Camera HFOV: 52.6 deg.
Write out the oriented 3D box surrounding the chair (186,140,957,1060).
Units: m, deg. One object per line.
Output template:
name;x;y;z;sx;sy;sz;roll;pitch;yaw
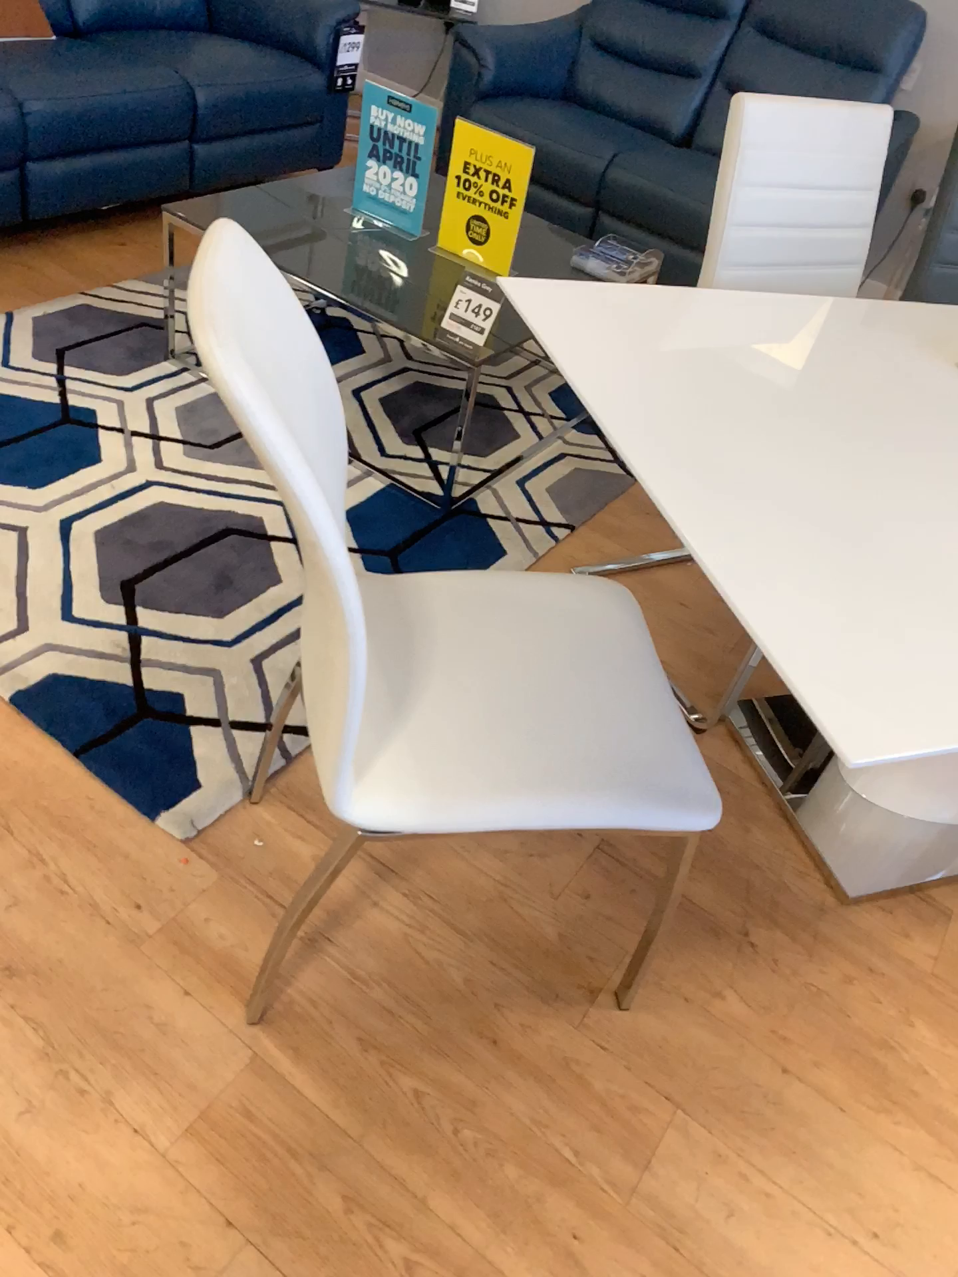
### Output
chair;0.001;0.012;1.130;0.629;0.863;0.520;2;42;-15
